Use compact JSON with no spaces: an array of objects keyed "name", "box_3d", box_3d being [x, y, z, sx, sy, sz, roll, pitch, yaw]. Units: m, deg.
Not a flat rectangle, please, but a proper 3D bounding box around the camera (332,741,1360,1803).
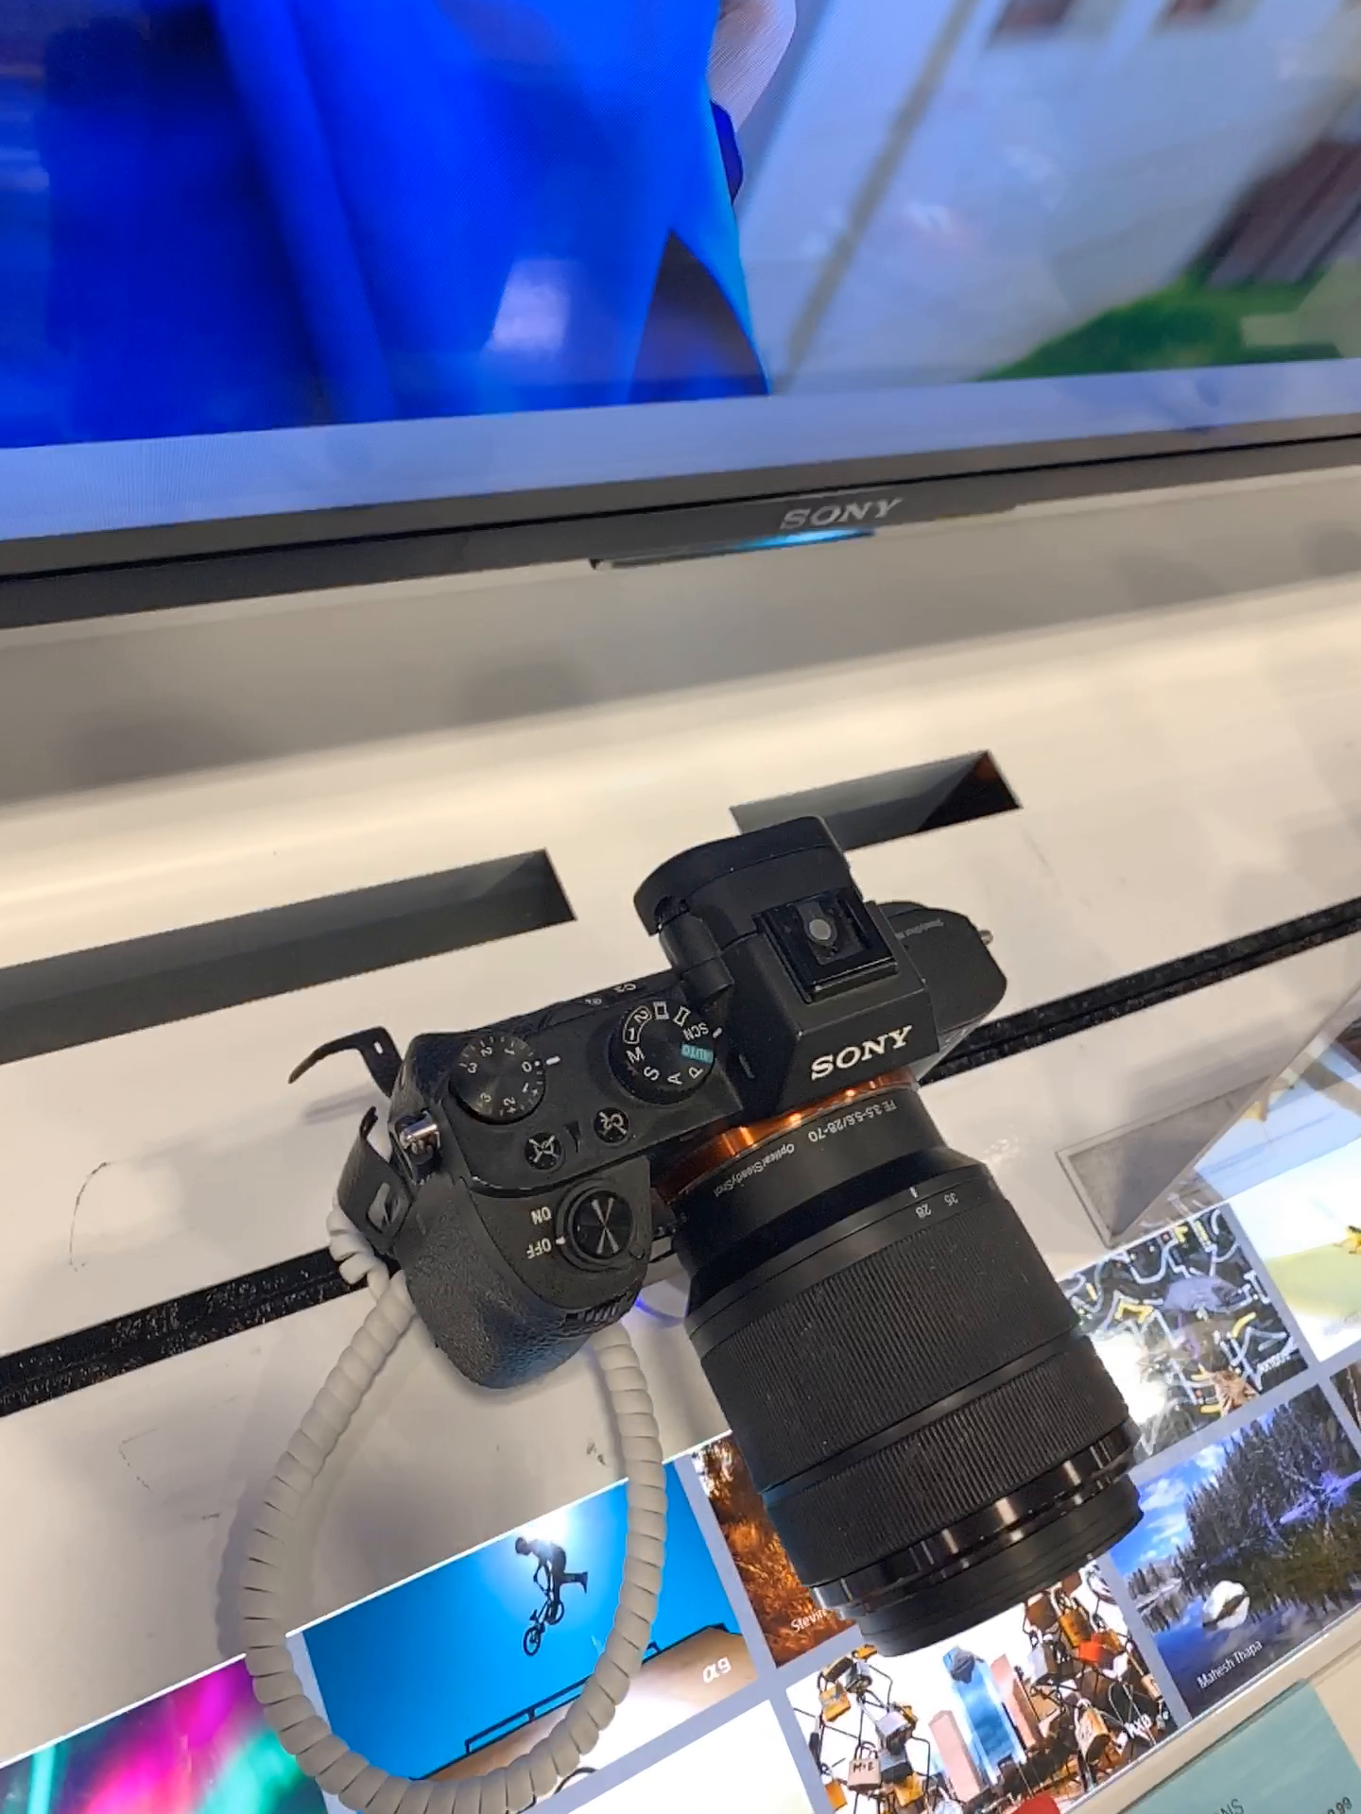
[{"name":"camera","box_3d":[0.022,0.063,0.274,0.130,0.090,0.142,-15,67,-26]}]
